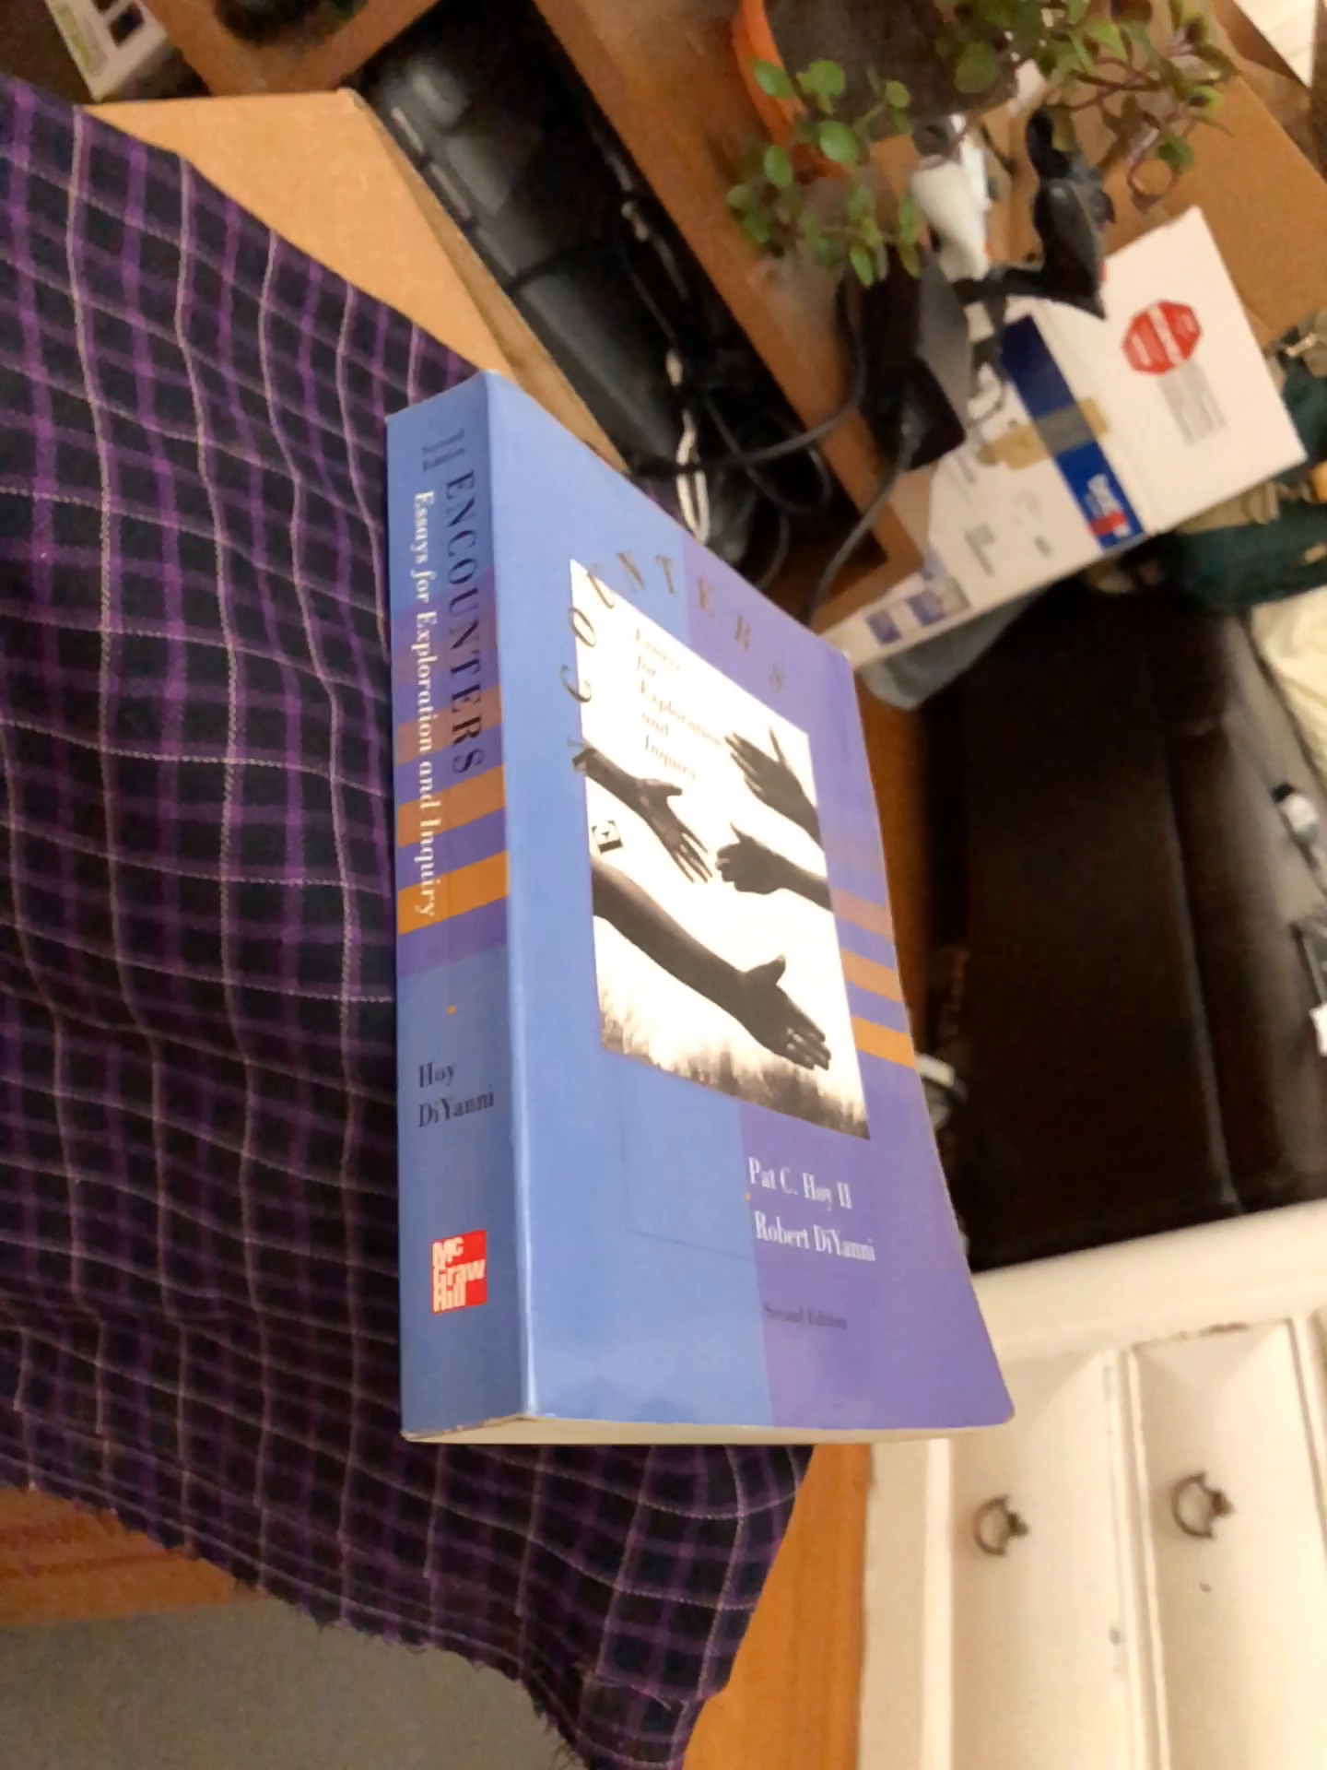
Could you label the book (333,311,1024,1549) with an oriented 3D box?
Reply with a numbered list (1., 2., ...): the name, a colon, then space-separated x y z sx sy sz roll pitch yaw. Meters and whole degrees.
1. book: 0.006 0.019 0.374 0.201 0.040 0.260 27 49 -49
